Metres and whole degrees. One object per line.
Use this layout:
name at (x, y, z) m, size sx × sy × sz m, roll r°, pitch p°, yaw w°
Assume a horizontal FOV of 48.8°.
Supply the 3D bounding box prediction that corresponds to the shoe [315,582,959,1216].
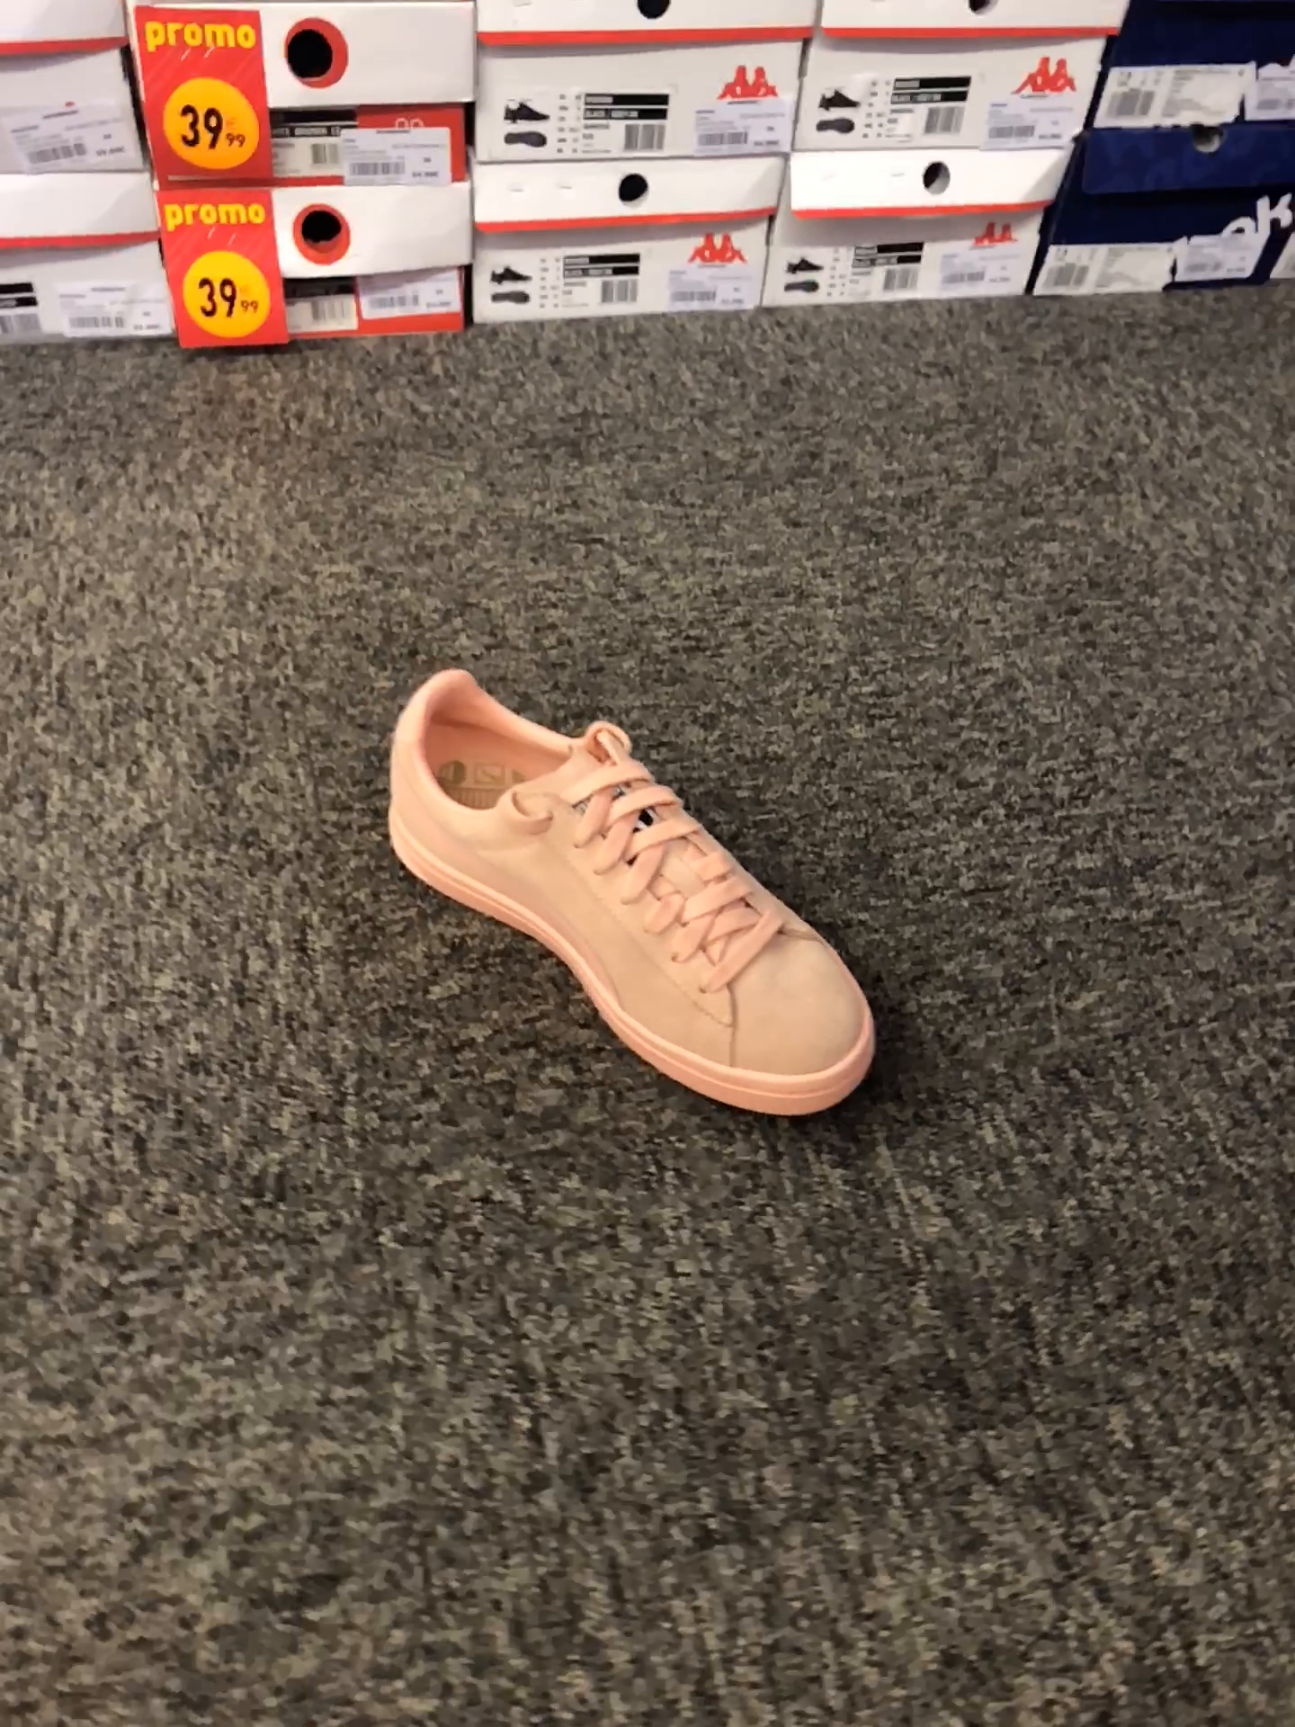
shoe at (-0.014, 0.009, 0.581) m, size 0.253 × 0.089 × 0.093 m, roll 40°, pitch 57°, yaw 17°
